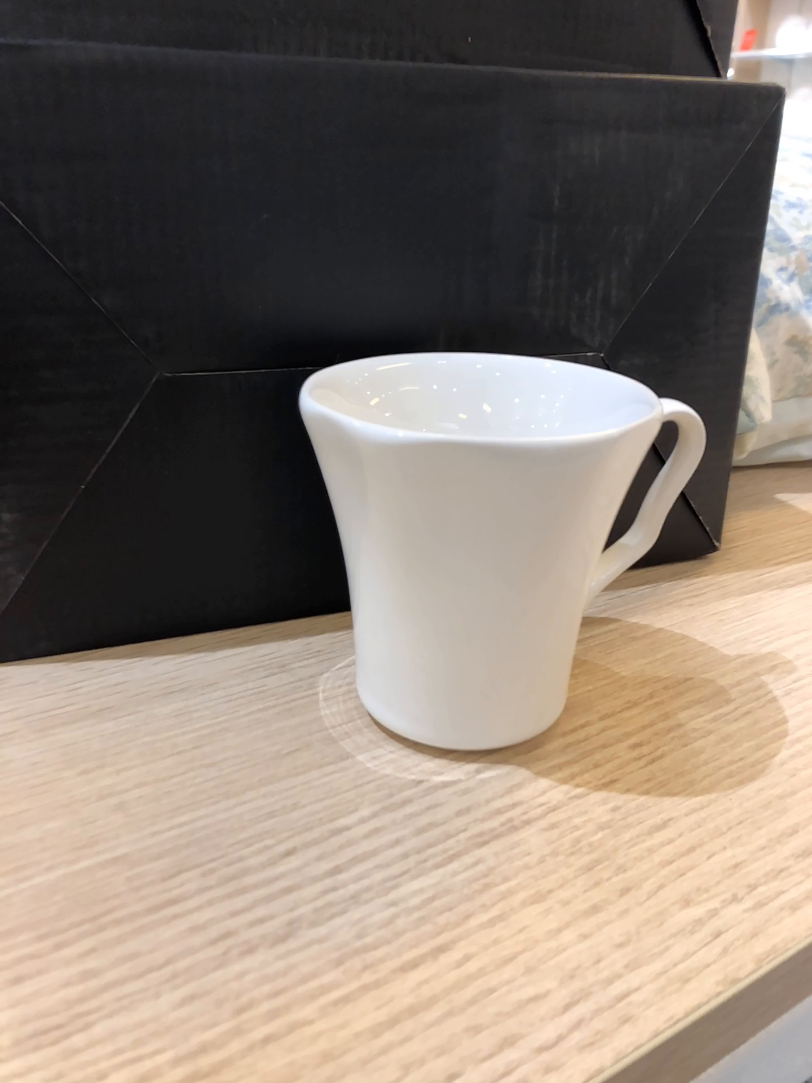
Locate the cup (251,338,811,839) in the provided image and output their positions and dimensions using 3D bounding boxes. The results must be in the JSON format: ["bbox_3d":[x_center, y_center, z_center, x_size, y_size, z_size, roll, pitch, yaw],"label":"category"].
[{"bbox_3d":[0.028,0.000,0.222,0.110,0.079,0.080,-9,25,-23],"label":"cup"}]
